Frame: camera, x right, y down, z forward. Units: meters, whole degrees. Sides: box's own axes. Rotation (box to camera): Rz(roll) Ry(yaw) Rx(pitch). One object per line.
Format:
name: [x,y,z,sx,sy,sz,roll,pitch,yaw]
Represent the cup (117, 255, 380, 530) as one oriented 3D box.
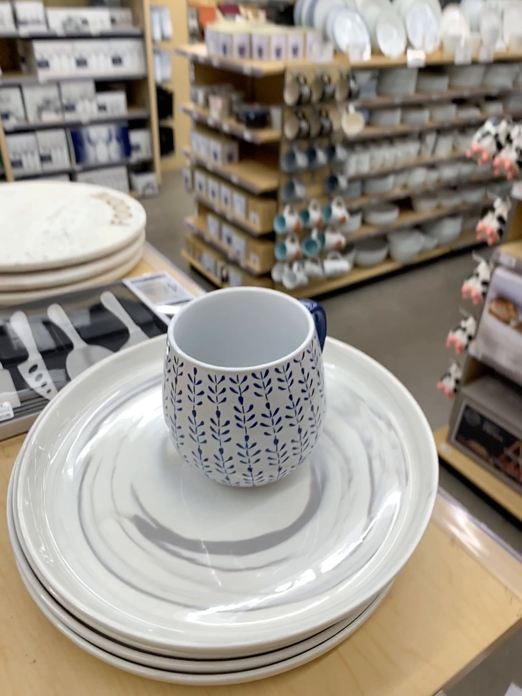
cup: [-0.005,0.020,0.361,0.104,0.097,0.128,26,43,30]
